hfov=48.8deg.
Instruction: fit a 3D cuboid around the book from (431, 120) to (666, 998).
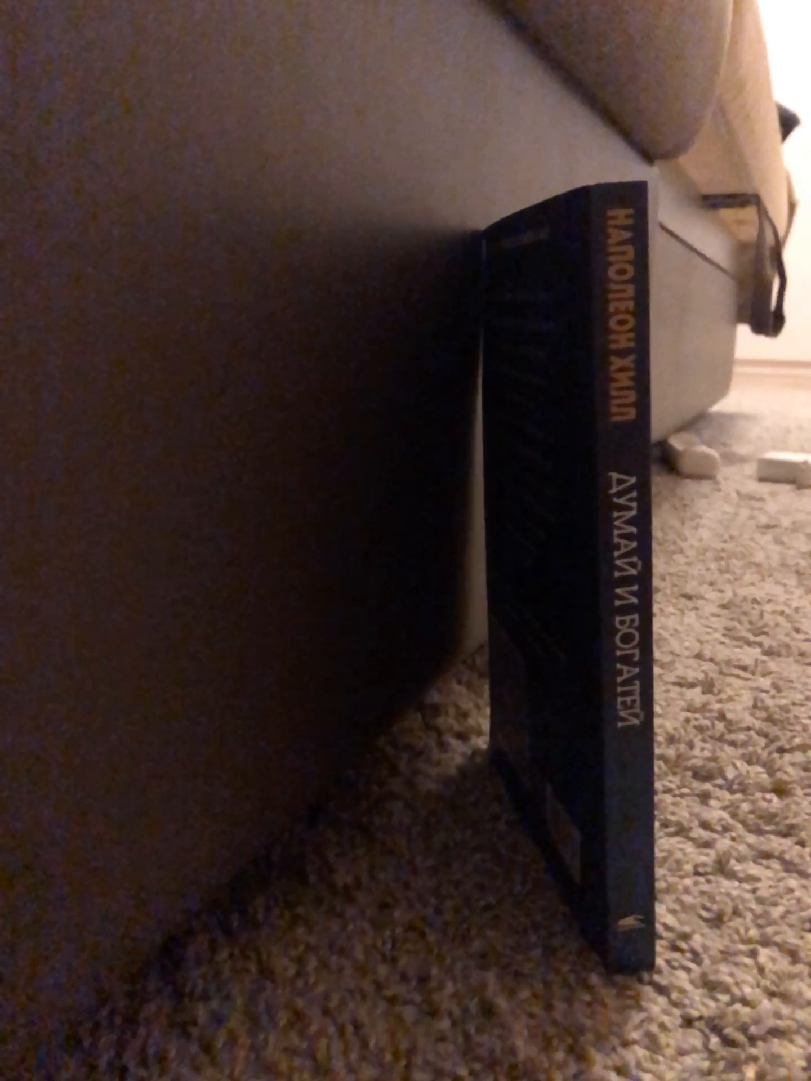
[{"bbox_3d":[0.037,-0.001,0.262,0.030,0.198,0.132,-5,13,-4],"label":"book"}]
